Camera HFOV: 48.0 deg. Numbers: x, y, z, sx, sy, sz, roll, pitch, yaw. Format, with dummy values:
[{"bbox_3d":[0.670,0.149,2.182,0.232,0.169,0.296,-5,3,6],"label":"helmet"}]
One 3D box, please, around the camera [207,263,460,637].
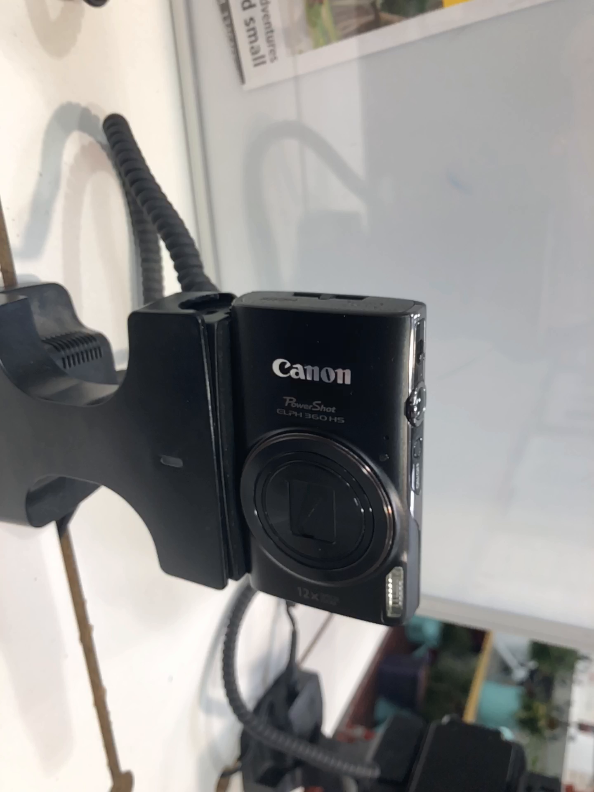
[{"bbox_3d":[0.013,0.014,0.217,0.030,0.070,0.110,-33,124,-59],"label":"camera"}]
